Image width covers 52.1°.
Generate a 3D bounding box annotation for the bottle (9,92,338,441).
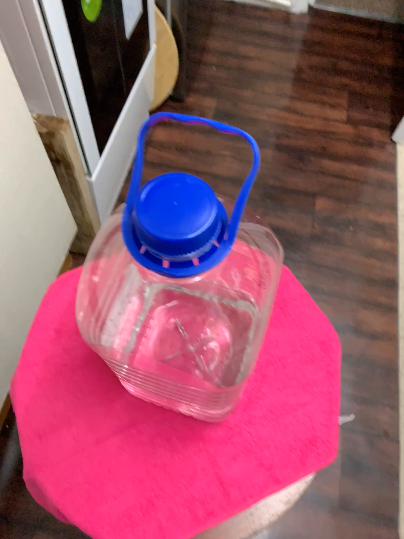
[{"bbox_3d":[-0.012,0.042,0.375,0.140,0.328,0.151,1,63,-2],"label":"bottle"}]
